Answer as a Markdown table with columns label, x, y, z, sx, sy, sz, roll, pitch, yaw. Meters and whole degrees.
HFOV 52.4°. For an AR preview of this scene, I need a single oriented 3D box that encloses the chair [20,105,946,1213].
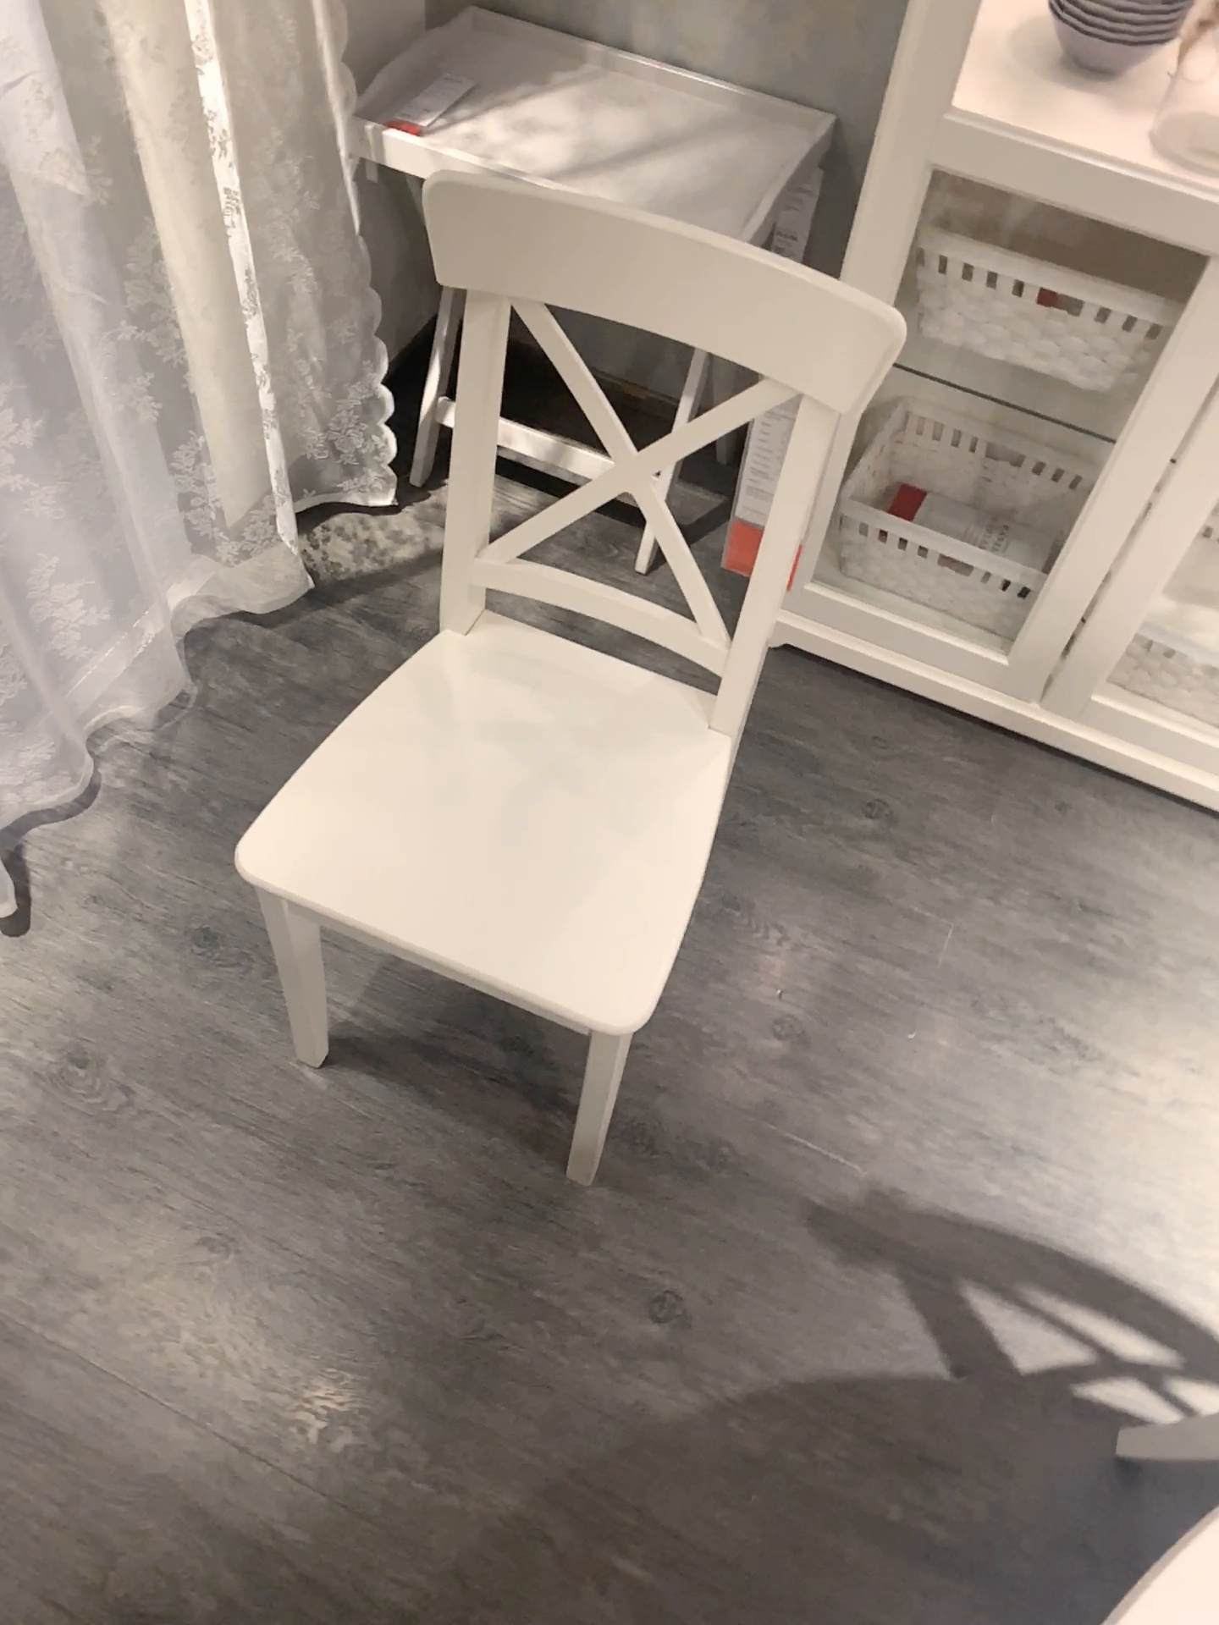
| label | x | y | z | sx | sy | sz | roll | pitch | yaw |
| --- | --- | --- | --- | --- | --- | --- | --- | --- | --- |
| chair | -0.079 | -0.066 | 1.177 | 0.440 | 0.858 | 0.491 | 22 | 56 | 10 |
